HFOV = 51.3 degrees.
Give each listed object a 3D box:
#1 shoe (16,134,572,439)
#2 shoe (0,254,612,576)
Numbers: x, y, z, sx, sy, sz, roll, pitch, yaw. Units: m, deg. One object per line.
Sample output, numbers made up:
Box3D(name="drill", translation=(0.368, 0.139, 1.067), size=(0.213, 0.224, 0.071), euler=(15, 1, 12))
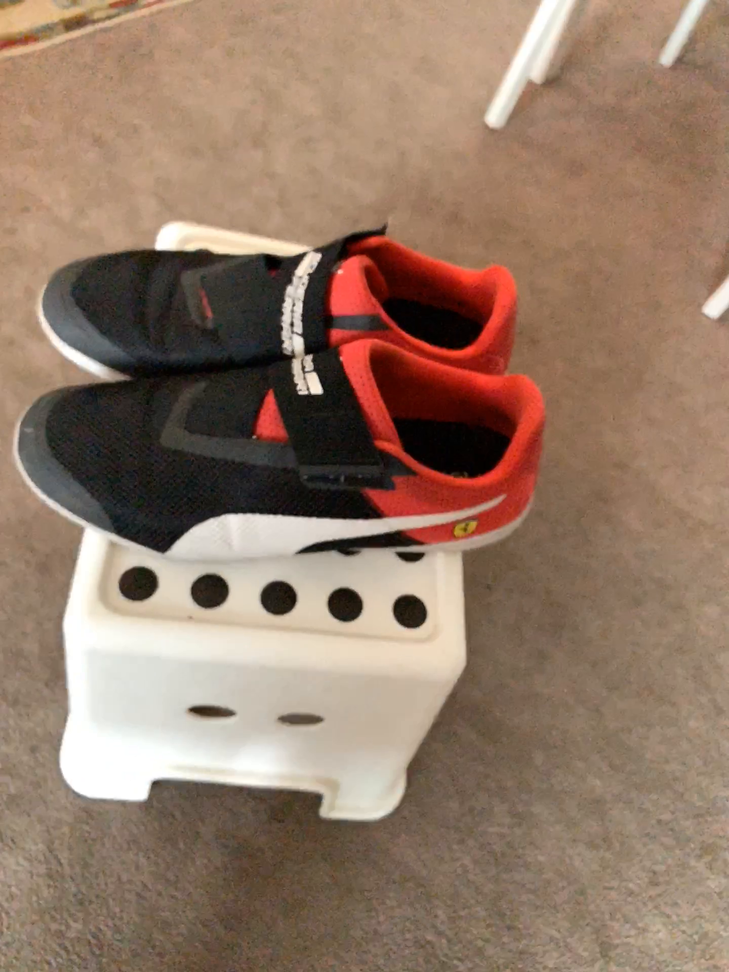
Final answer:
Box3D(name="shoe", translation=(-0.037, -0.117, 0.470), size=(0.300, 0.089, 0.101), euler=(8, 59, -9))
Box3D(name="shoe", translation=(-0.037, -0.030, 0.406), size=(0.300, 0.089, 0.111), euler=(5, 59, -11))
